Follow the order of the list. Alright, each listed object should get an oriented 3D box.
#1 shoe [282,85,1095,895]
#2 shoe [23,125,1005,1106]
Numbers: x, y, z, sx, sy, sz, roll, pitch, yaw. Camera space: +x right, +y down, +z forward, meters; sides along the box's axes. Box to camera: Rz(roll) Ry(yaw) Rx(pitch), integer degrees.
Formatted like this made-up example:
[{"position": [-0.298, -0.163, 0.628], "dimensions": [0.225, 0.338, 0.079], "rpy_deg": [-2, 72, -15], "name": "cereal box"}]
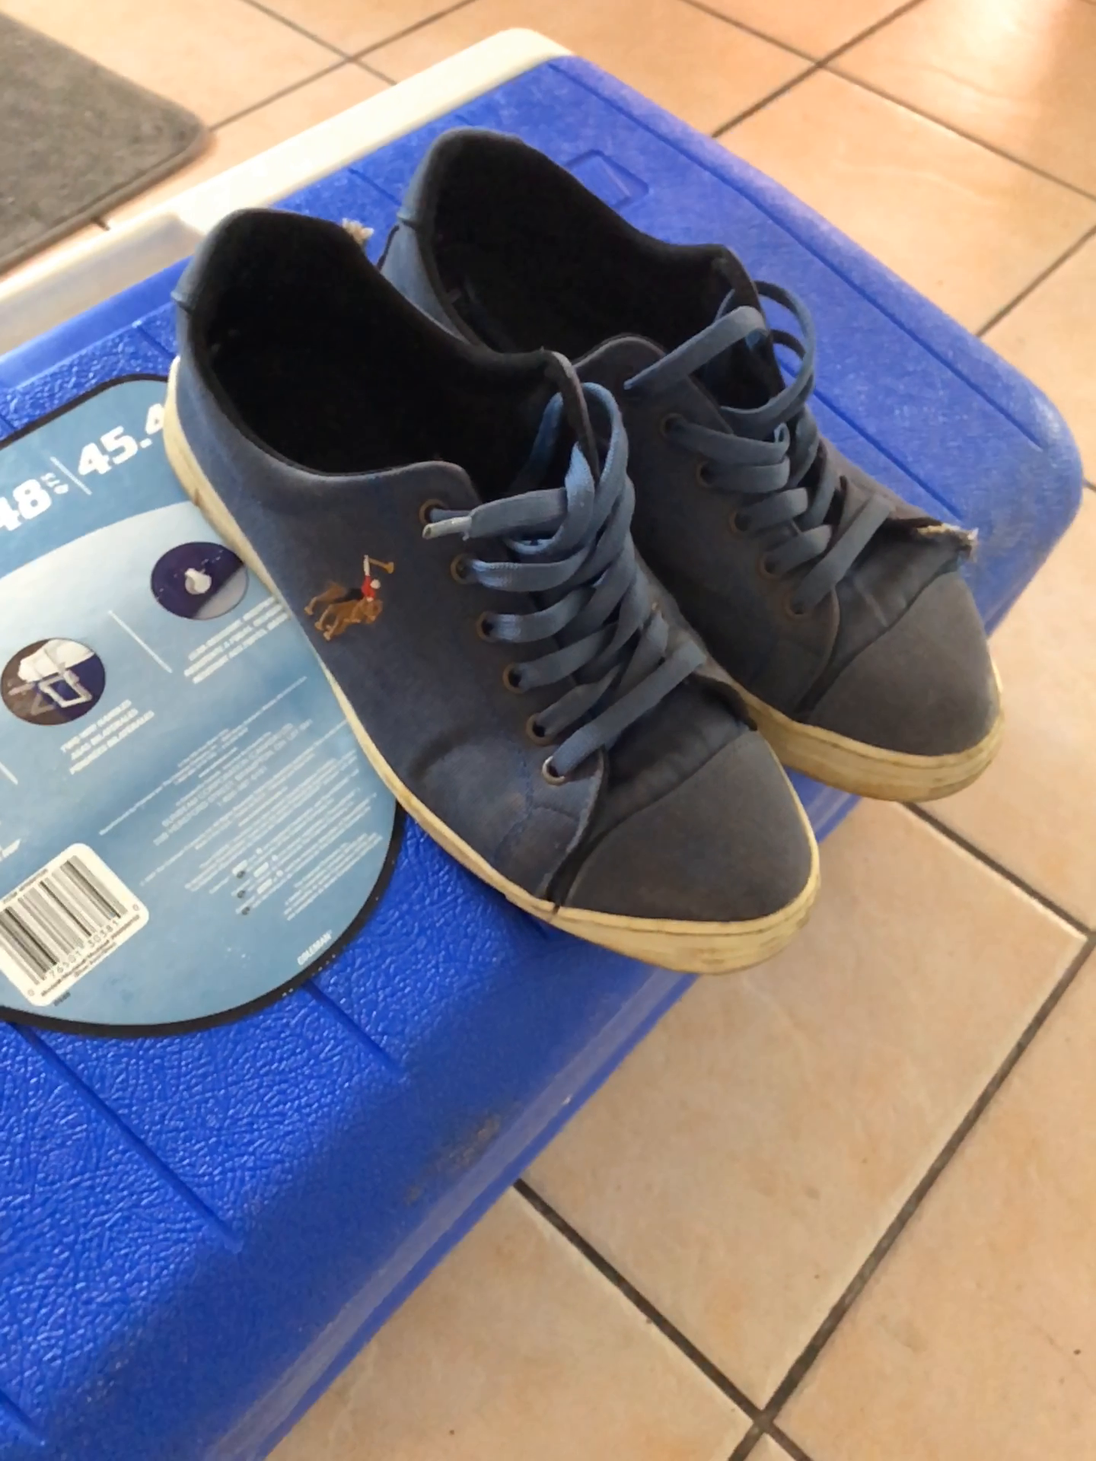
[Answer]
[{"position": [0.049, -0.087, 0.397], "dimensions": [0.271, 0.089, 0.108], "rpy_deg": [40, 63, 17], "name": "shoe"}, {"position": [-0.021, -0.041, 0.354], "dimensions": [0.107, 0.090, 0.271], "rpy_deg": [-35, 73, -23], "name": "shoe"}]
